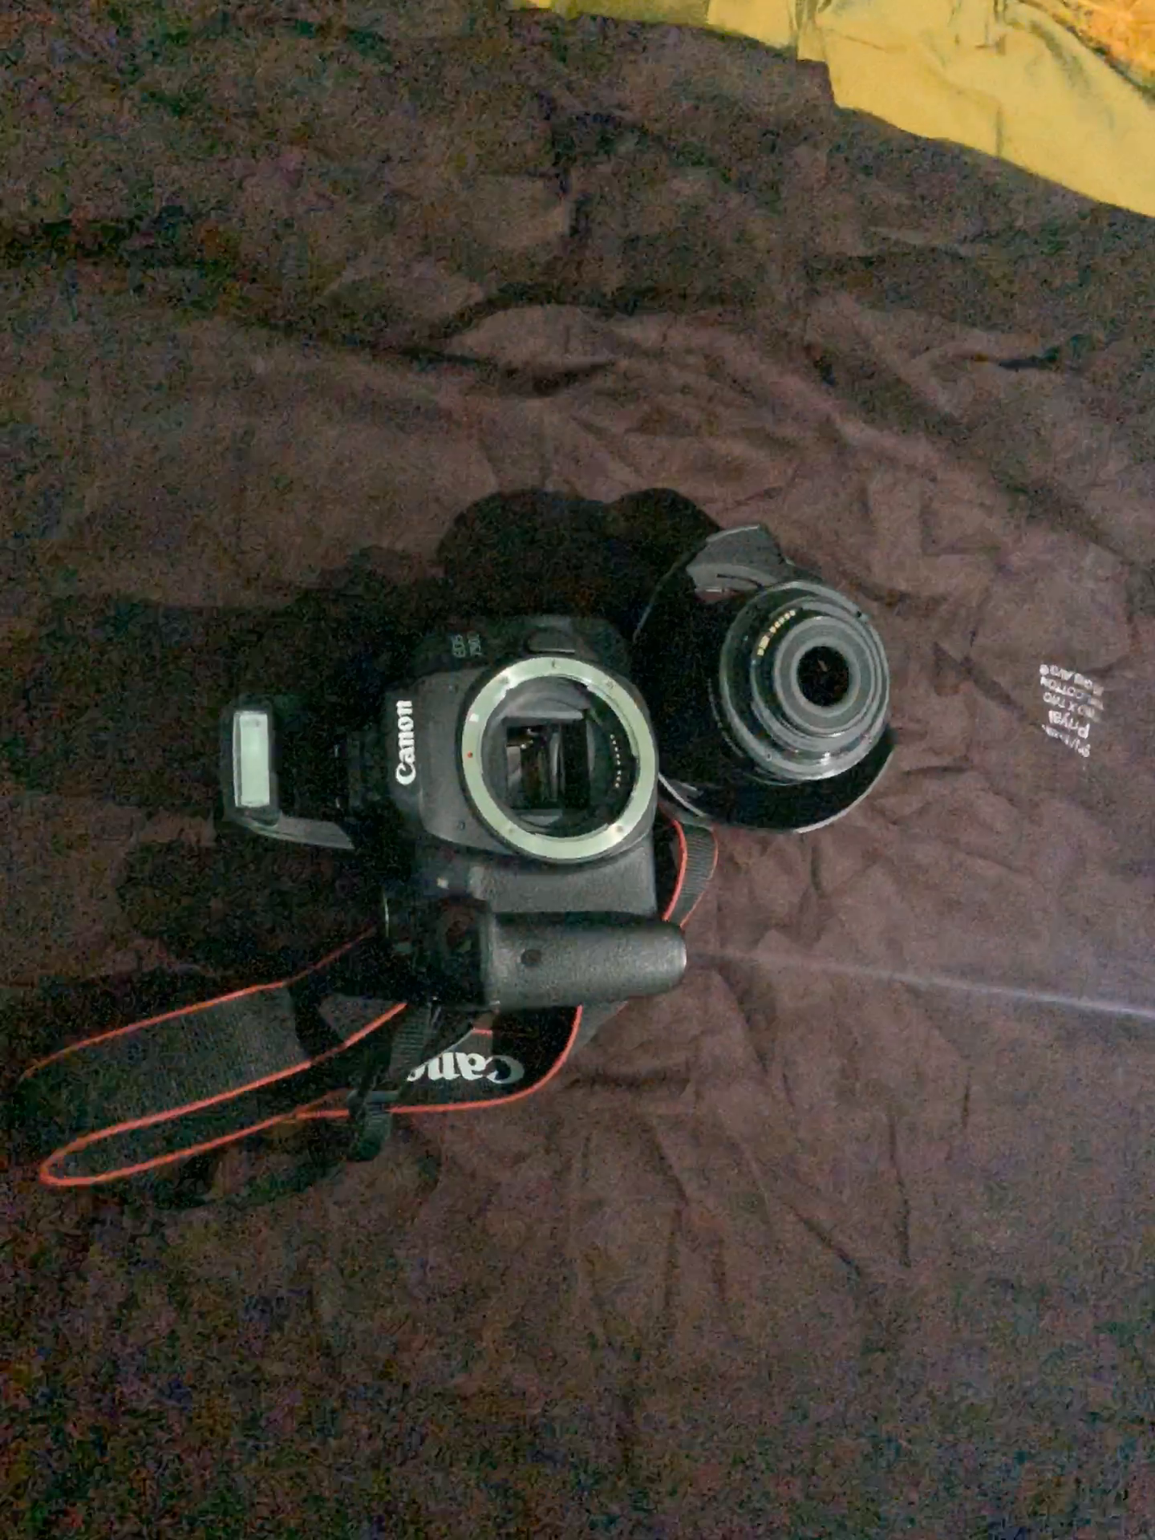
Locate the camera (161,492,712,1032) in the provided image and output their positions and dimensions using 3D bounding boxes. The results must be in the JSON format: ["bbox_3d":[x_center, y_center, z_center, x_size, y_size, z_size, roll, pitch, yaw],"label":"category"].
[{"bbox_3d":[-0.051,0.001,0.390,0.150,0.082,0.147,-1,75,-25],"label":"camera"}]
